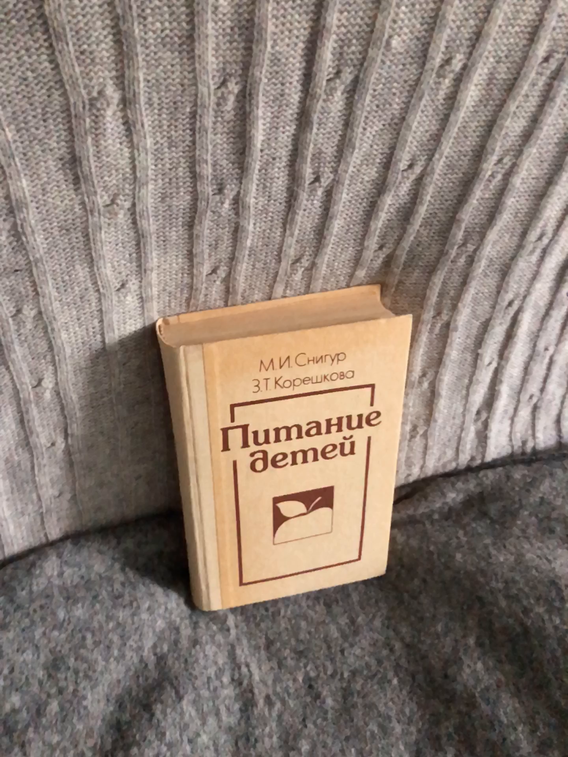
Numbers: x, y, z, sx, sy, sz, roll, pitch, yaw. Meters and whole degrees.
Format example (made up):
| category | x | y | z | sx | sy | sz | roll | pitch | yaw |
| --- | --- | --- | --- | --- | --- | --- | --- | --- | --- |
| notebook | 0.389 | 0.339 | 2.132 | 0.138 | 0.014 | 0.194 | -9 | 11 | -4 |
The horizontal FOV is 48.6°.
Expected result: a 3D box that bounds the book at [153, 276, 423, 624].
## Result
| category | x | y | z | sx | sy | sz | roll | pitch | yaw |
| --- | --- | --- | --- | --- | --- | --- | --- | --- | --- |
| book | 0.005 | 0.051 | 0.396 | 0.139 | 0.212 | 0.041 | -11 | 33 | -14 |
